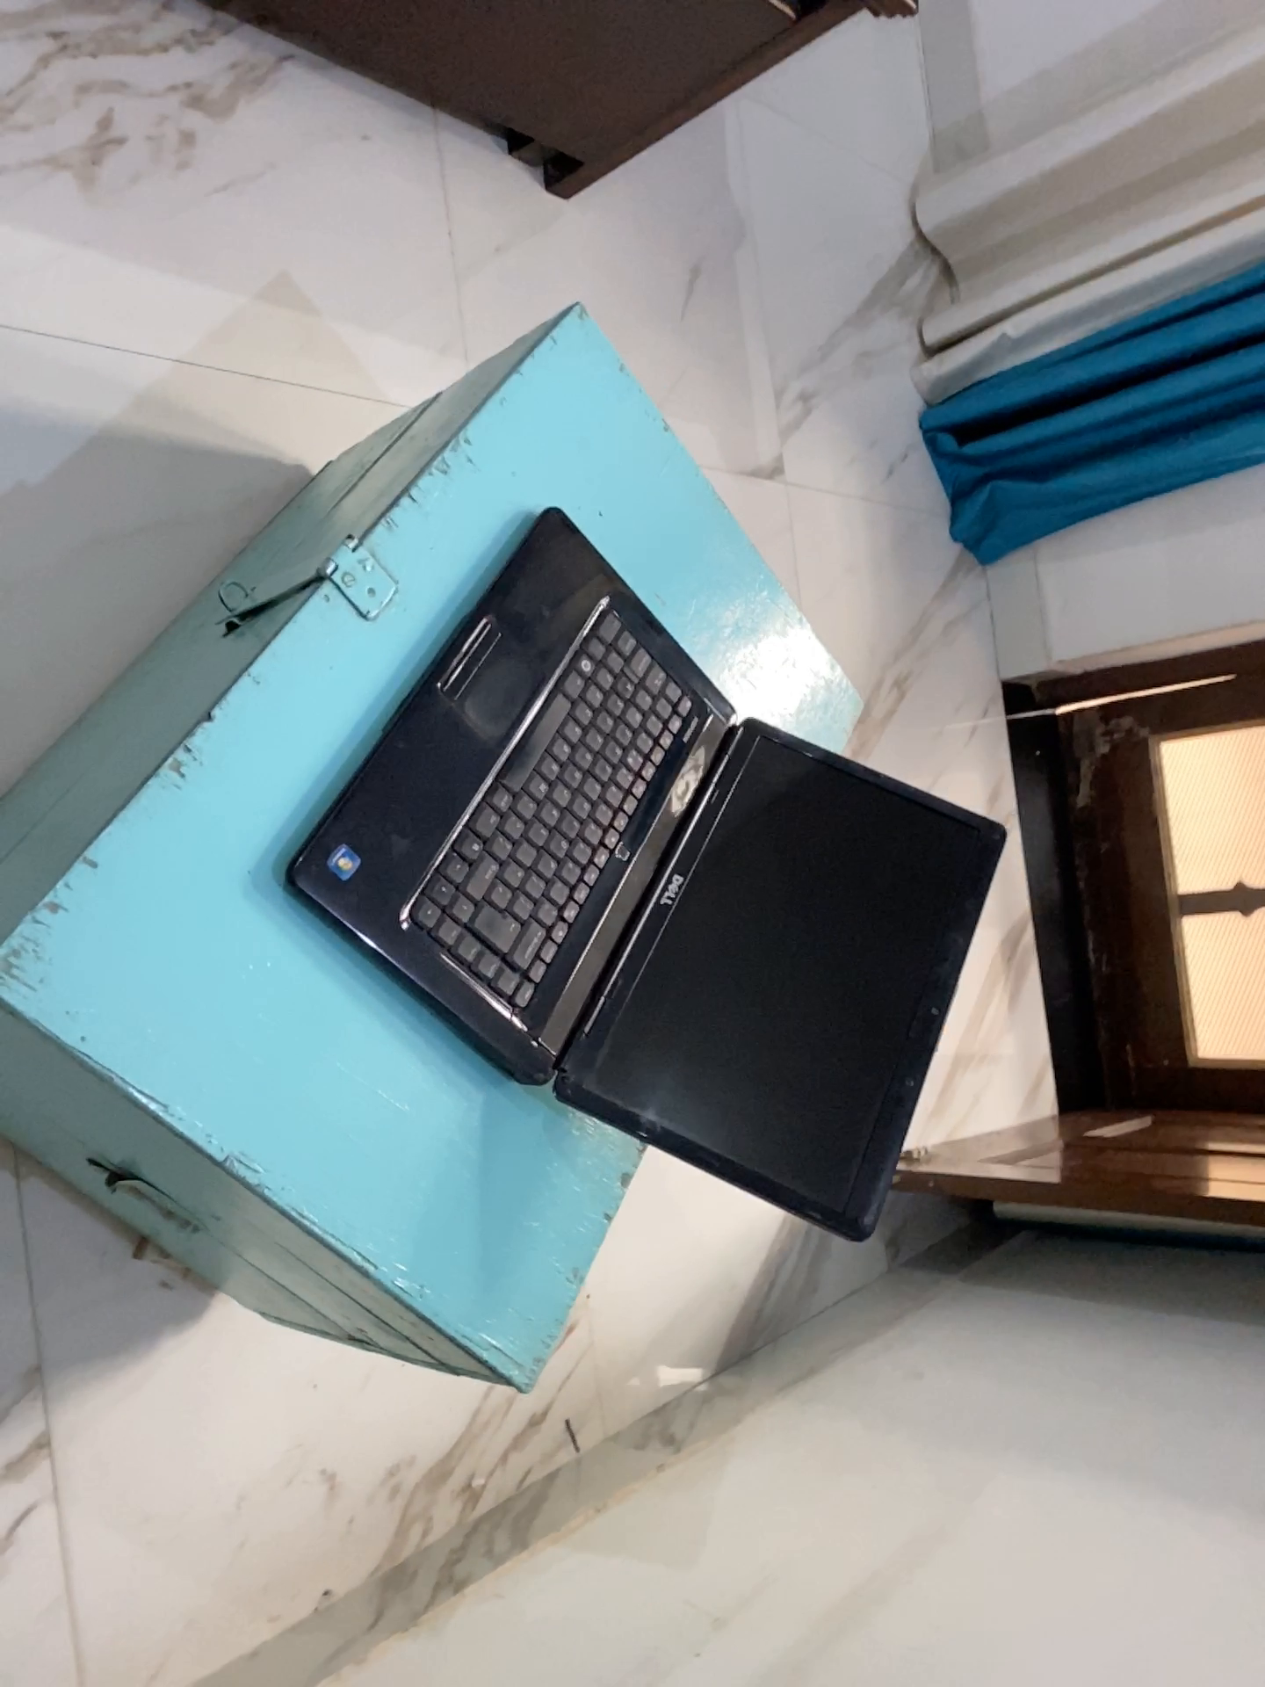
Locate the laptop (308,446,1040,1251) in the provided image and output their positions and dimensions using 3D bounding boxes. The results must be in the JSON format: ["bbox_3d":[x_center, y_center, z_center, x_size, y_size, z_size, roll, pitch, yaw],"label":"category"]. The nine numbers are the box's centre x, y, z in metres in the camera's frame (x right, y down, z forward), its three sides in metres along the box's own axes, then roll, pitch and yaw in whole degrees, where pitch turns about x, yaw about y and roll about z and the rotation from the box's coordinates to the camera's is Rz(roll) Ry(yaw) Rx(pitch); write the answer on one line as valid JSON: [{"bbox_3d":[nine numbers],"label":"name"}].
[{"bbox_3d":[0.066,0.011,0.910,0.413,0.162,0.364,45,55,-27],"label":"laptop"}]
